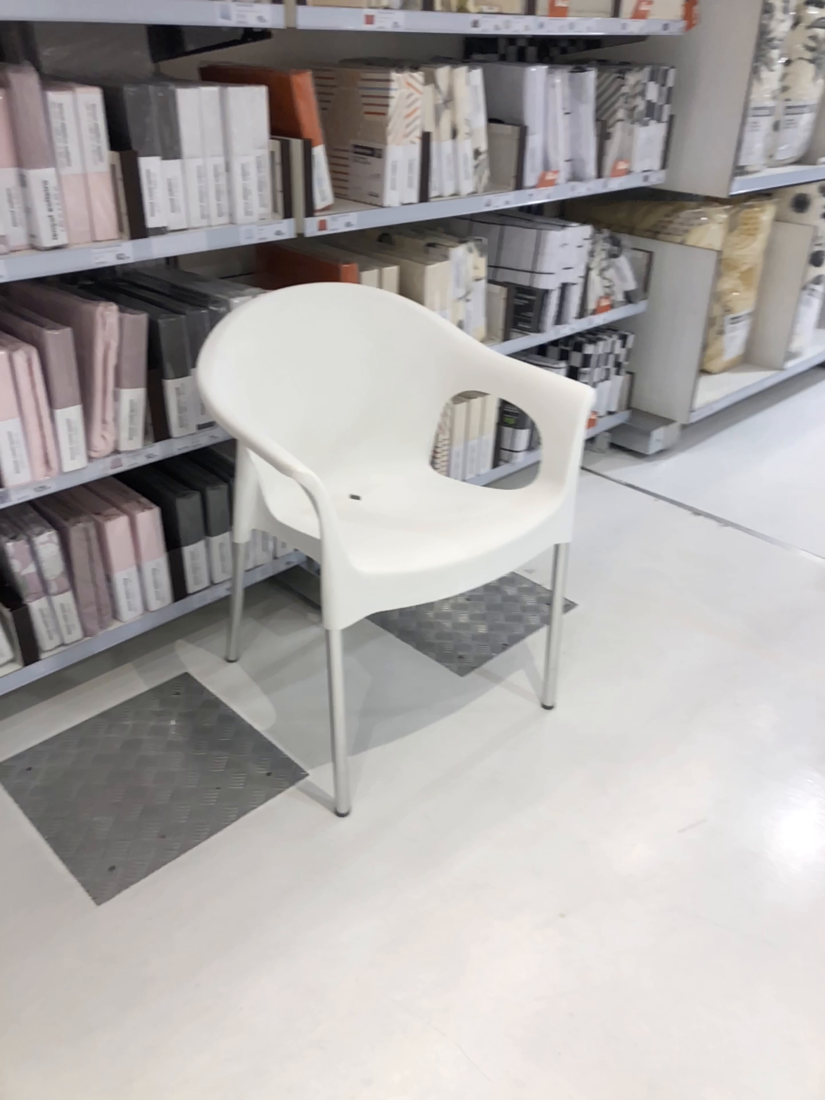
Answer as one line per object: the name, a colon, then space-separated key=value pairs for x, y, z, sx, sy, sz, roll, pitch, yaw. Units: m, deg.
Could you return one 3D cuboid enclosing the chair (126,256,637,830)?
chair: x=-0.066 y=-0.068 z=1.588 sx=0.592 sy=0.705 sz=0.552 roll=-19 pitch=35 yaw=-32
